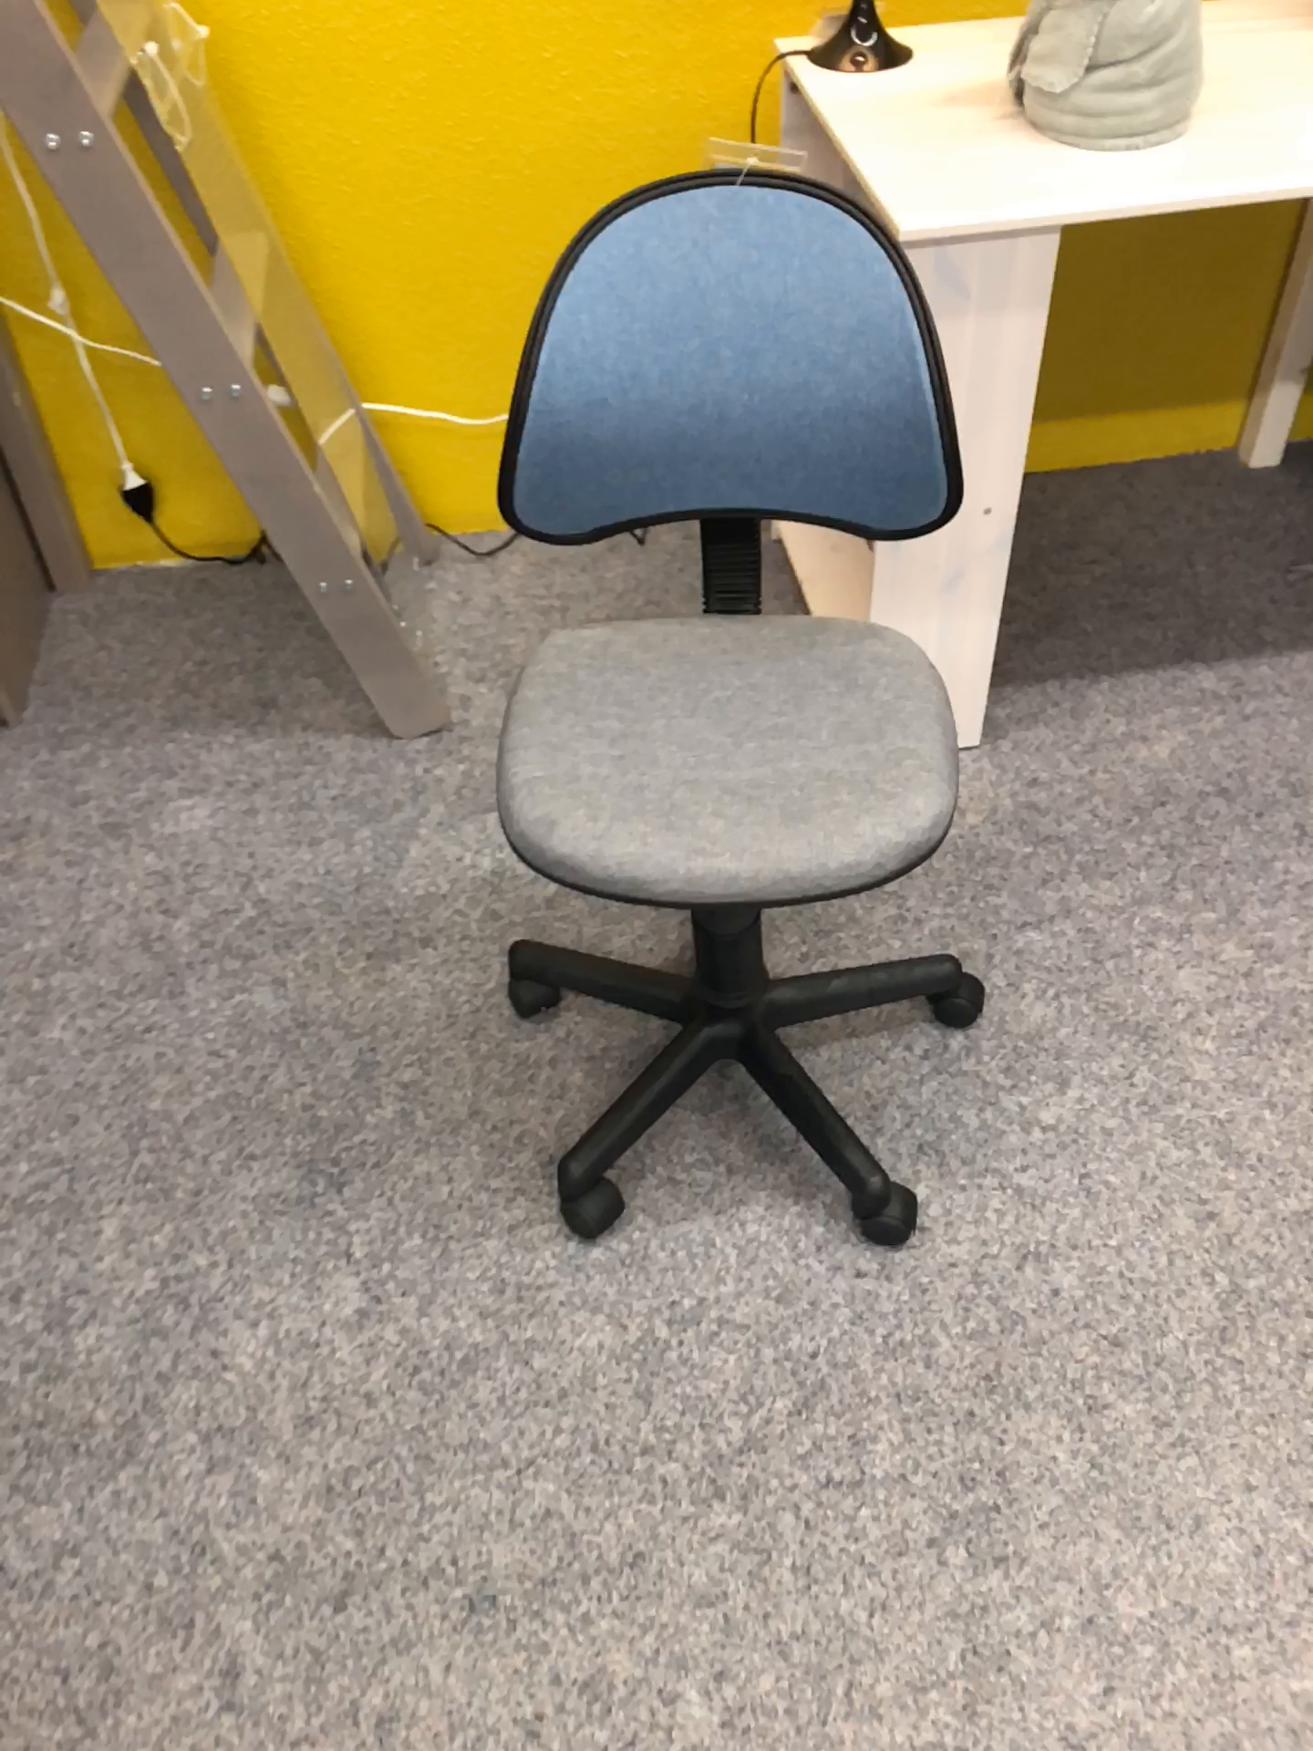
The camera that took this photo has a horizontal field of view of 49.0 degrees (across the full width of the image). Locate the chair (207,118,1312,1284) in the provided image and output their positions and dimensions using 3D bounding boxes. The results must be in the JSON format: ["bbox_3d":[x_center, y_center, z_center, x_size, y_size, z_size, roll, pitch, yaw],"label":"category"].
[{"bbox_3d":[0.069,-0.121,1.199,0.600,0.746,0.563,-3,45,-1],"label":"chair"}]
